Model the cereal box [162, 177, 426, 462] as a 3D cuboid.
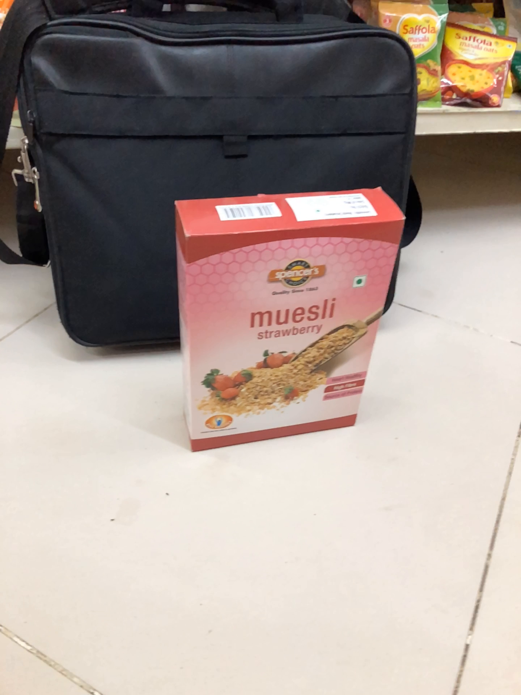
[{"bbox_3d":[0.020,-0.017,0.537,0.200,0.258,0.060,-7,41,-13],"label":"cereal box"}]
